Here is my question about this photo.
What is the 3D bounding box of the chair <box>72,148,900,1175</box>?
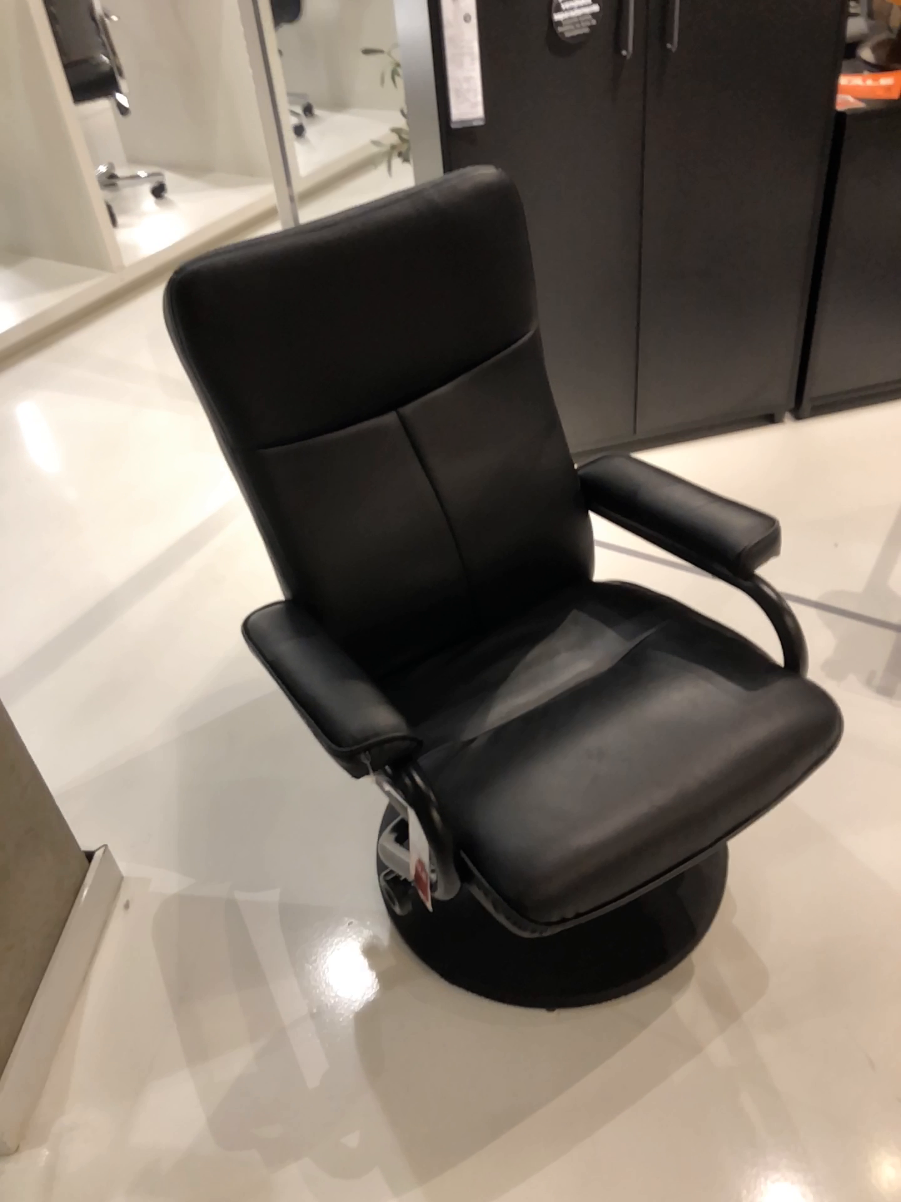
[{"bbox_3d":[0.081,0.051,1.368,0.691,0.992,0.734,-25,43,-21],"label":"chair"}]
